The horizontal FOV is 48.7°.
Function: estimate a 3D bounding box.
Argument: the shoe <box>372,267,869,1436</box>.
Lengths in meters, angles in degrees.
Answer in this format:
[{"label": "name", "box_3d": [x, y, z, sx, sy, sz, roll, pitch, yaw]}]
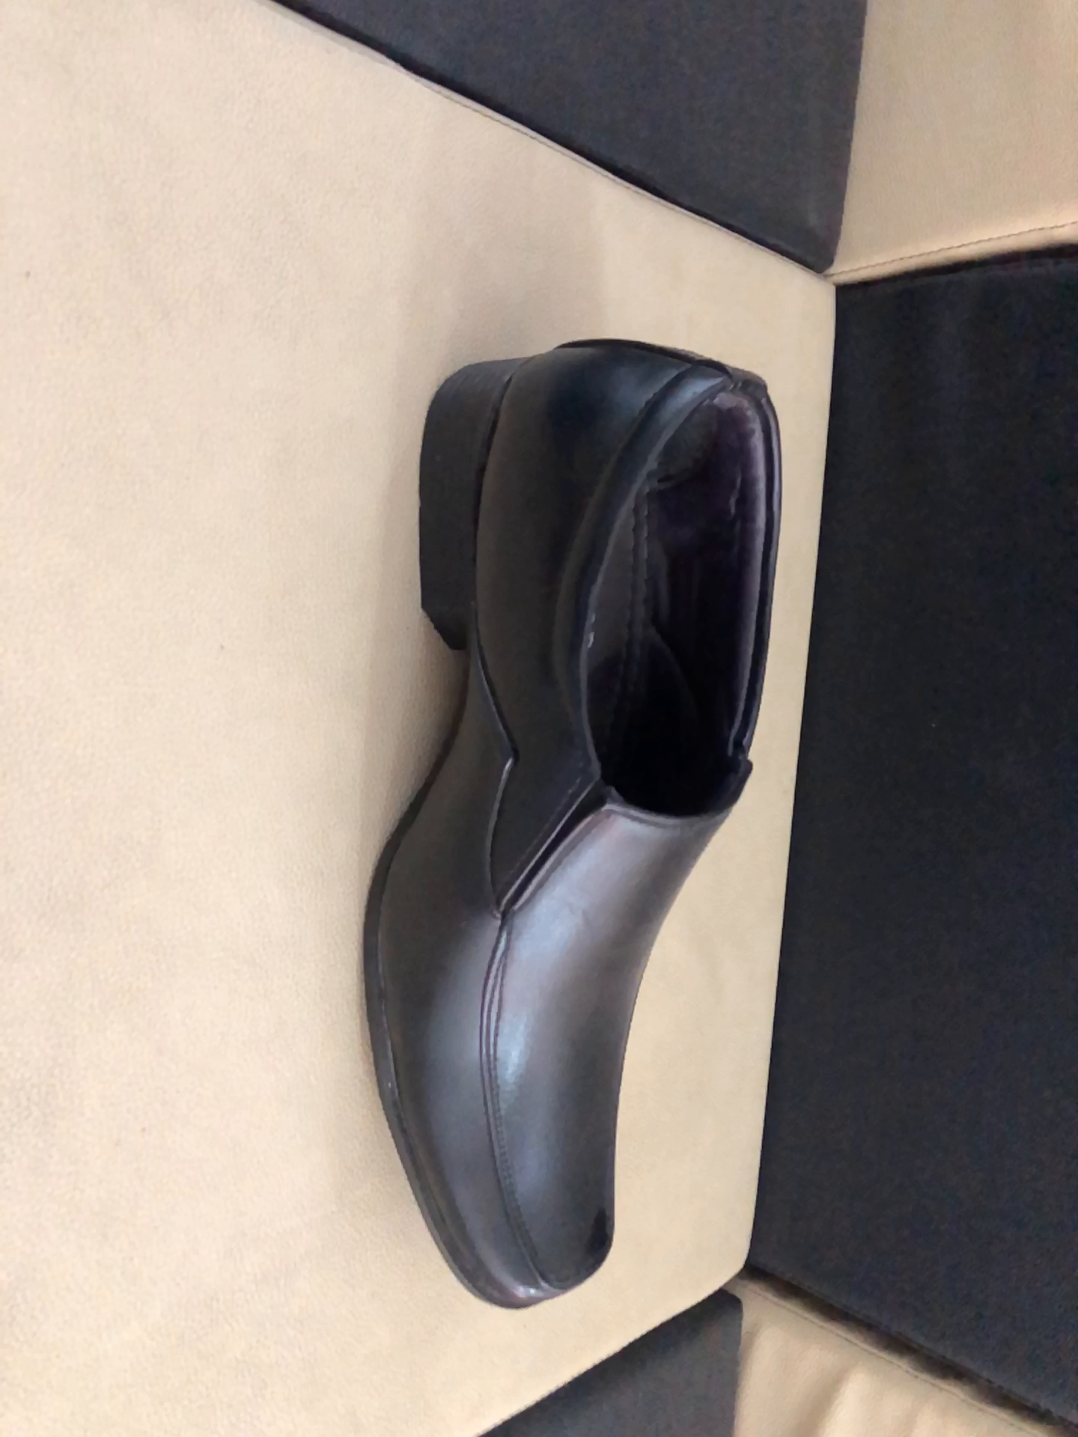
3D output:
[{"label": "shoe", "box_3d": [0.023, 0.034, 0.358, 0.101, 0.089, 0.290, -2, 96, -46]}]
